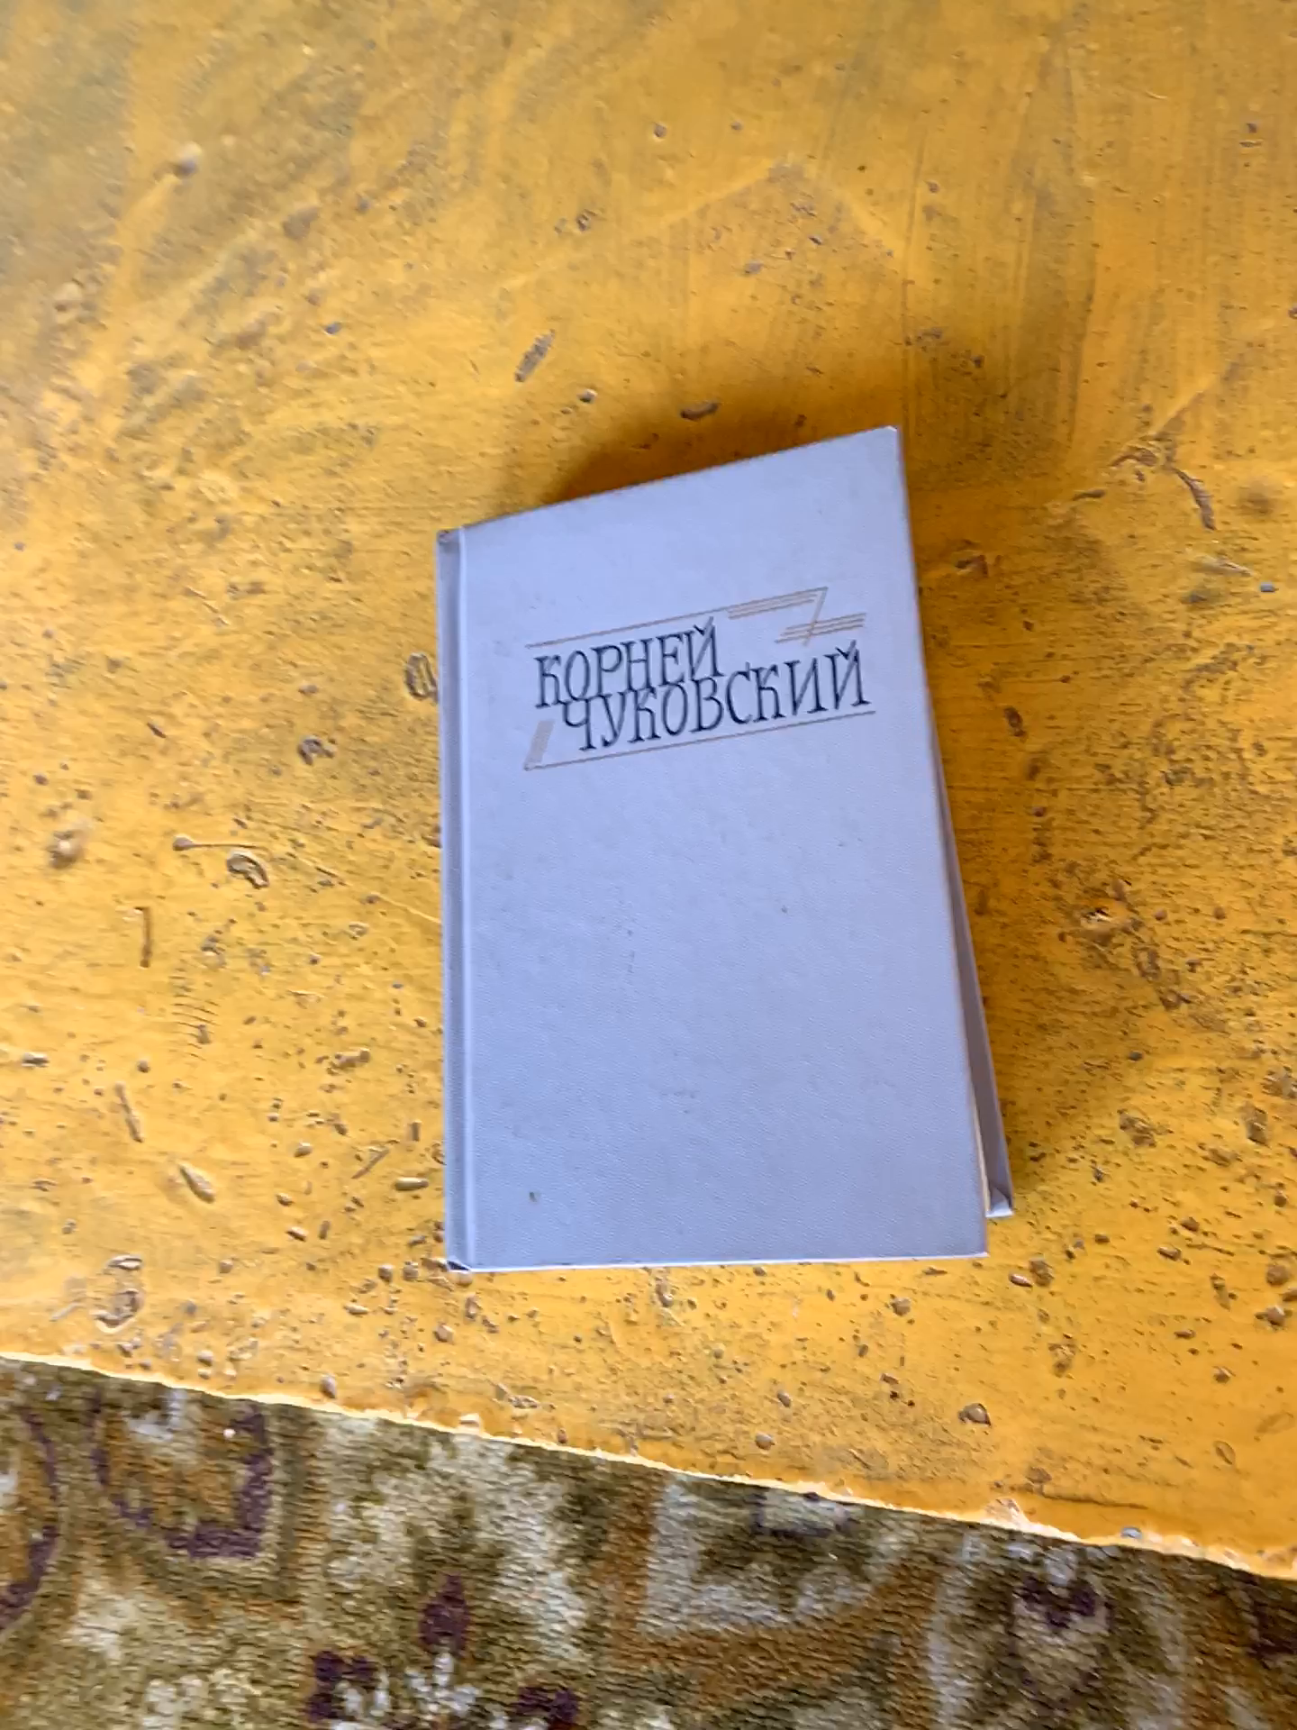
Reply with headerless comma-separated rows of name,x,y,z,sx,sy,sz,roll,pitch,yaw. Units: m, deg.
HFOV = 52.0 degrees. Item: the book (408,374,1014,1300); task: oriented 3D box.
book,0.008,-0.005,0.341,0.139,0.031,0.216,-8,75,20
